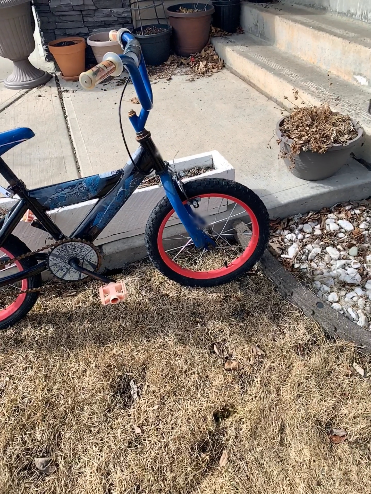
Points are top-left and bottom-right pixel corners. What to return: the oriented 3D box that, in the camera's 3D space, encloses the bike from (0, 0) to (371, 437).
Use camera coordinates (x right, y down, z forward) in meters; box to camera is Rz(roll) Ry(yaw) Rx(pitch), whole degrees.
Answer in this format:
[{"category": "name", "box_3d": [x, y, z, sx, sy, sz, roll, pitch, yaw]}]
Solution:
[{"category": "bike", "box_3d": [-0.261, -0.107, 0.863, 1.023, 0.728, 0.538, -12, 41, -4]}]
